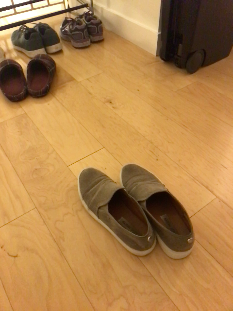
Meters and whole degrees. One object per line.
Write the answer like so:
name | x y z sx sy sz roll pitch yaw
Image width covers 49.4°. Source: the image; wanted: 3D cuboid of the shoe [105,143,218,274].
shoe | 0.086 0.106 0.604 0.110 0.079 0.291 -21 49 -17

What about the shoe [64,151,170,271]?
shoe | -0.011 0.112 0.591 0.100 0.070 0.271 -28 51 -22
